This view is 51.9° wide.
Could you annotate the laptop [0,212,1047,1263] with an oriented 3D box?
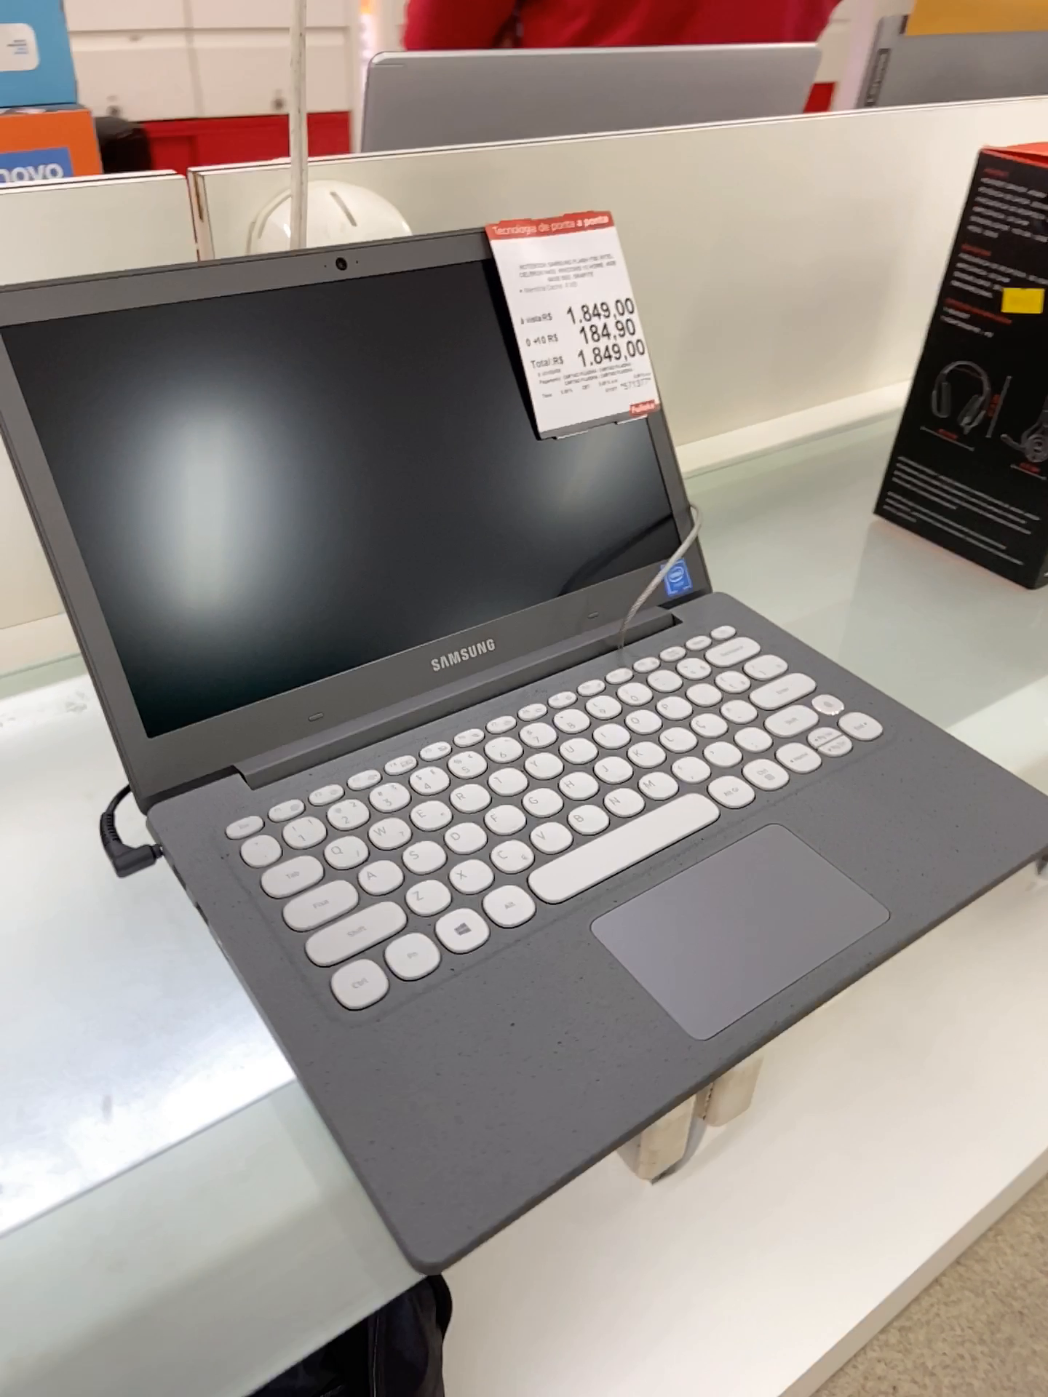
[{"bbox_3d":[0.009,-0.052,0.438,0.325,0.172,0.341,-22,43,-29],"label":"laptop"}]
